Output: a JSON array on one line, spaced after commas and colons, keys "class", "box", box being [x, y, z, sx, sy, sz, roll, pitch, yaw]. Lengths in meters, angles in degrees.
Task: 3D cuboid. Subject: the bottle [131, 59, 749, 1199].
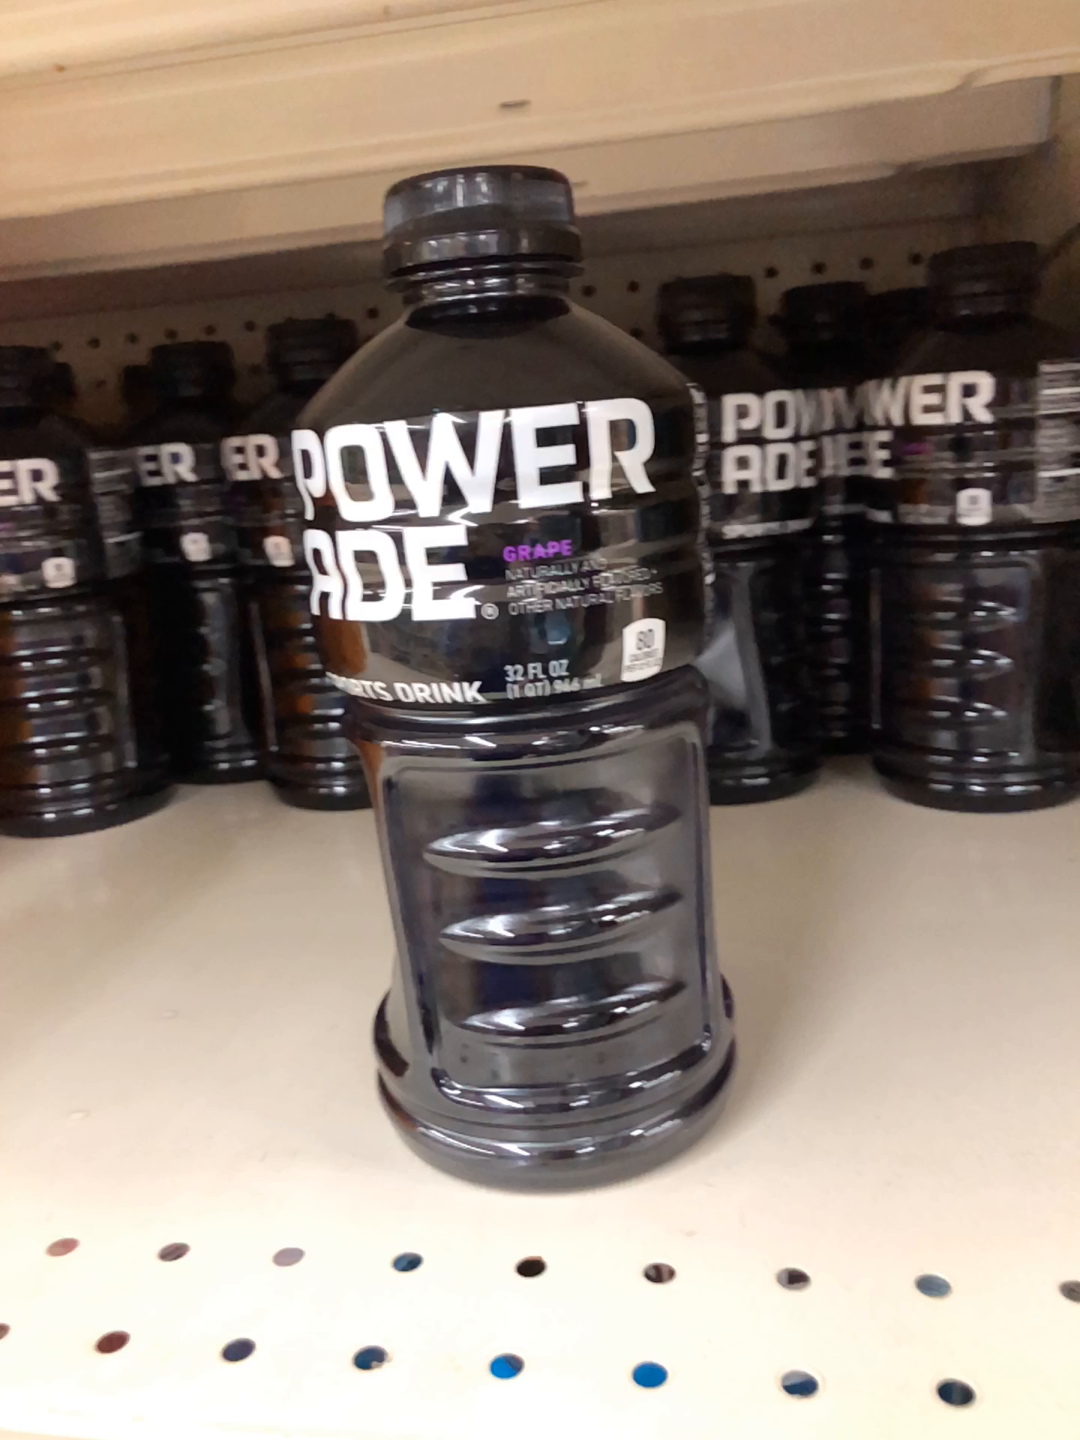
[{"class": "bottle", "box": [-0.007, -0.014, 0.269, 0.098, 0.210, 0.090, -4, 15, 1]}]
